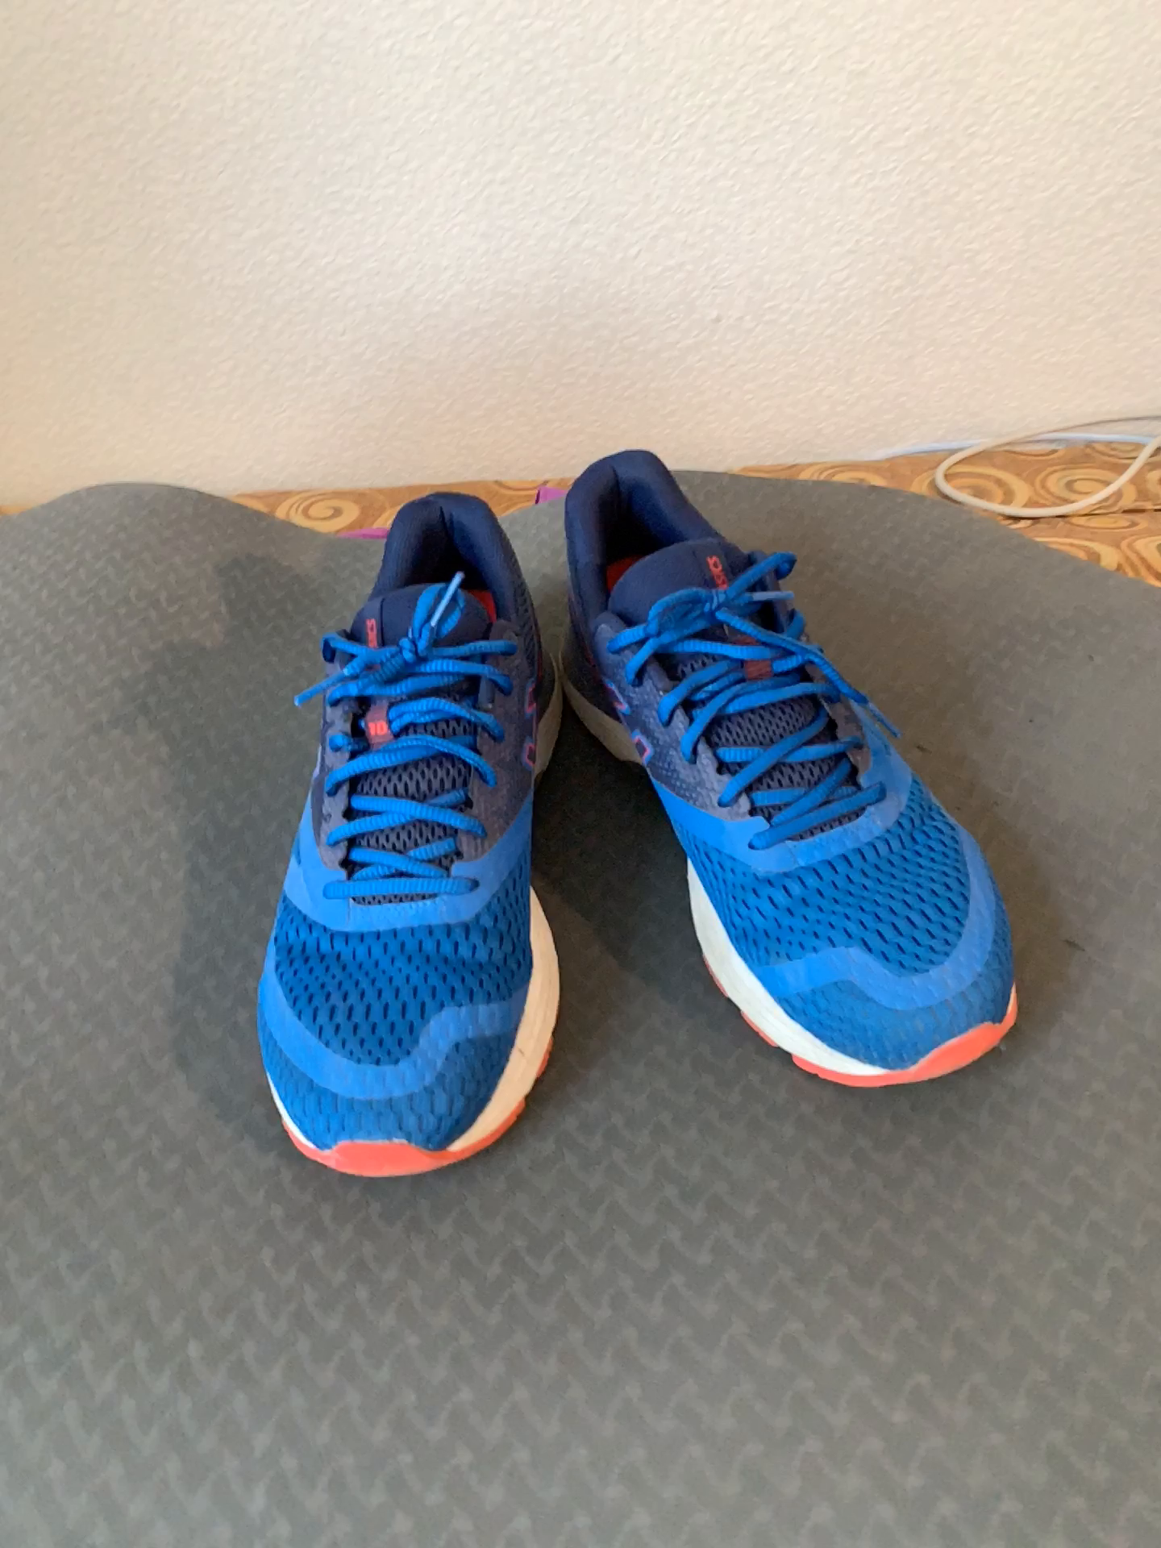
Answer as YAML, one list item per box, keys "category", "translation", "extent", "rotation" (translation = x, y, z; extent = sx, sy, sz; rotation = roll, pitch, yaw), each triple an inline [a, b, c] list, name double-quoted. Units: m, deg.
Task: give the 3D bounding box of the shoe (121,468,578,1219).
- category: "shoe"
  translation: [-0.065, 0.007, 0.476]
  extent: [0.120, 0.109, 0.302]
  rotation: [-2, 44, 3]

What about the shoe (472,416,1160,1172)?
- category: "shoe"
  translation: [0.066, -0.017, 0.482]
  extent: [0.120, 0.109, 0.301]
  rotation: [-18, 46, -13]
